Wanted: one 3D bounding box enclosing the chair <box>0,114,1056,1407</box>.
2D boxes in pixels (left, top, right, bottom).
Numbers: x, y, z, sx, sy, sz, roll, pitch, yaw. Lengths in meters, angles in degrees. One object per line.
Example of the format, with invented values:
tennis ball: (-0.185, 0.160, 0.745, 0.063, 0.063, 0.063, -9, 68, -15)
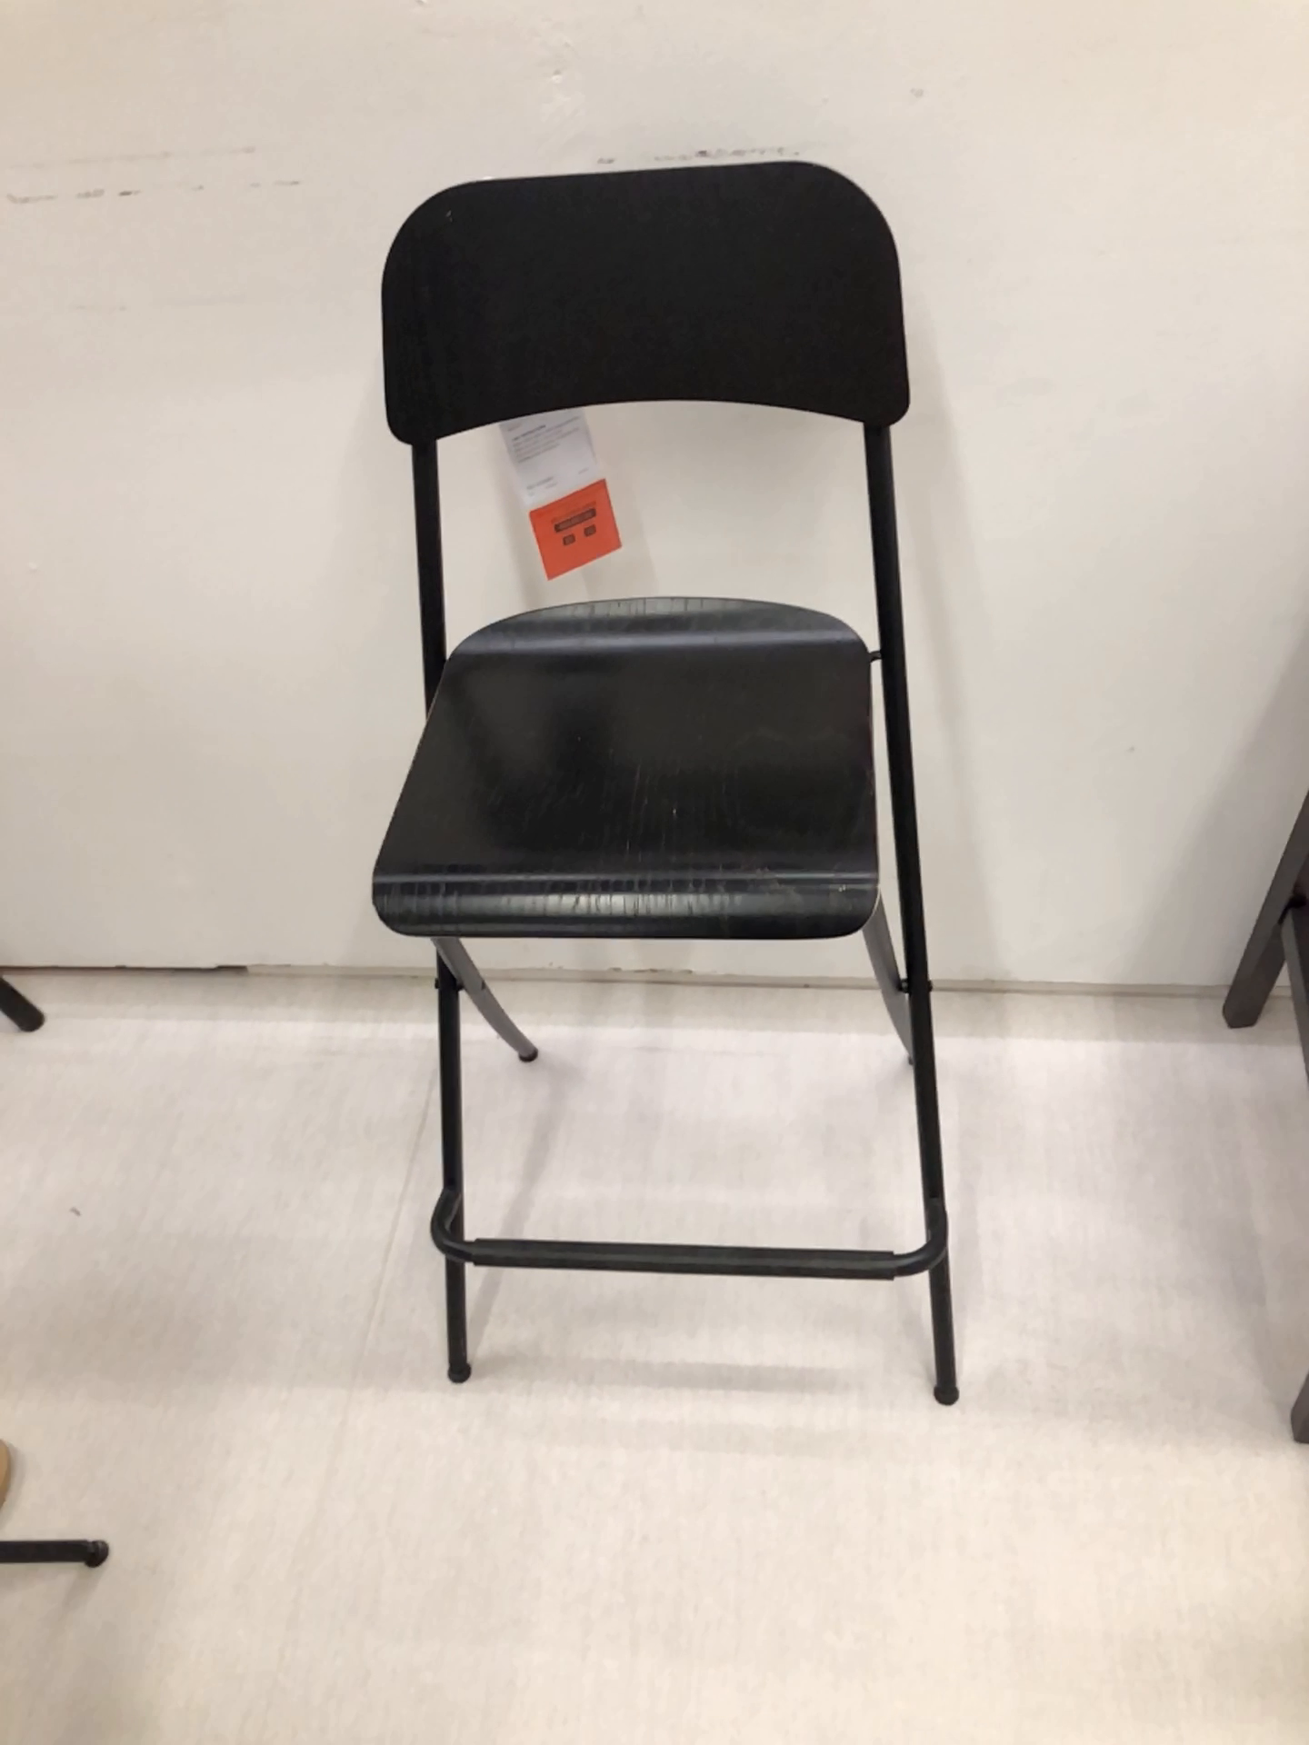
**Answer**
chair: (-0.005, -0.015, 1.122, 0.490, 0.884, 0.473, -1, 46, 8)
